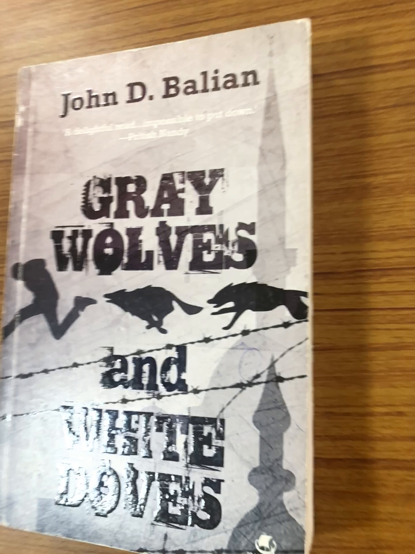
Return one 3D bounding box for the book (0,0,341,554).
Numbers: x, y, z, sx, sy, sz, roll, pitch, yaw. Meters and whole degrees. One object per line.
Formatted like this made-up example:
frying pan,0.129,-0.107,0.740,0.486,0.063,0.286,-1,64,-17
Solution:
book,-0.017,-0.005,0.185,0.130,0.030,0.210,0,84,20
